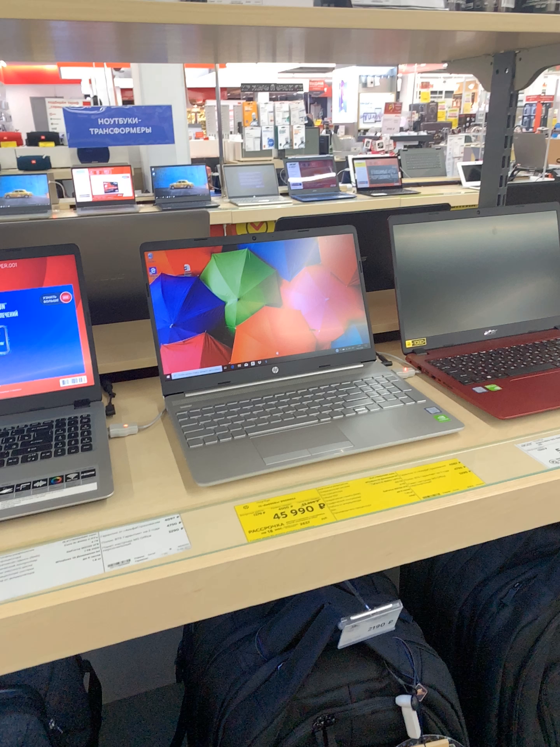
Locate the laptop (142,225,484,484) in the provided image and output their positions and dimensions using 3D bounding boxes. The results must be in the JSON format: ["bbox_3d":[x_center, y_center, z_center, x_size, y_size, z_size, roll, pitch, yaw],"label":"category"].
[{"bbox_3d":[0.017,-0.064,0.815,0.360,0.209,0.348,-9,25,-17],"label":"laptop"}]
